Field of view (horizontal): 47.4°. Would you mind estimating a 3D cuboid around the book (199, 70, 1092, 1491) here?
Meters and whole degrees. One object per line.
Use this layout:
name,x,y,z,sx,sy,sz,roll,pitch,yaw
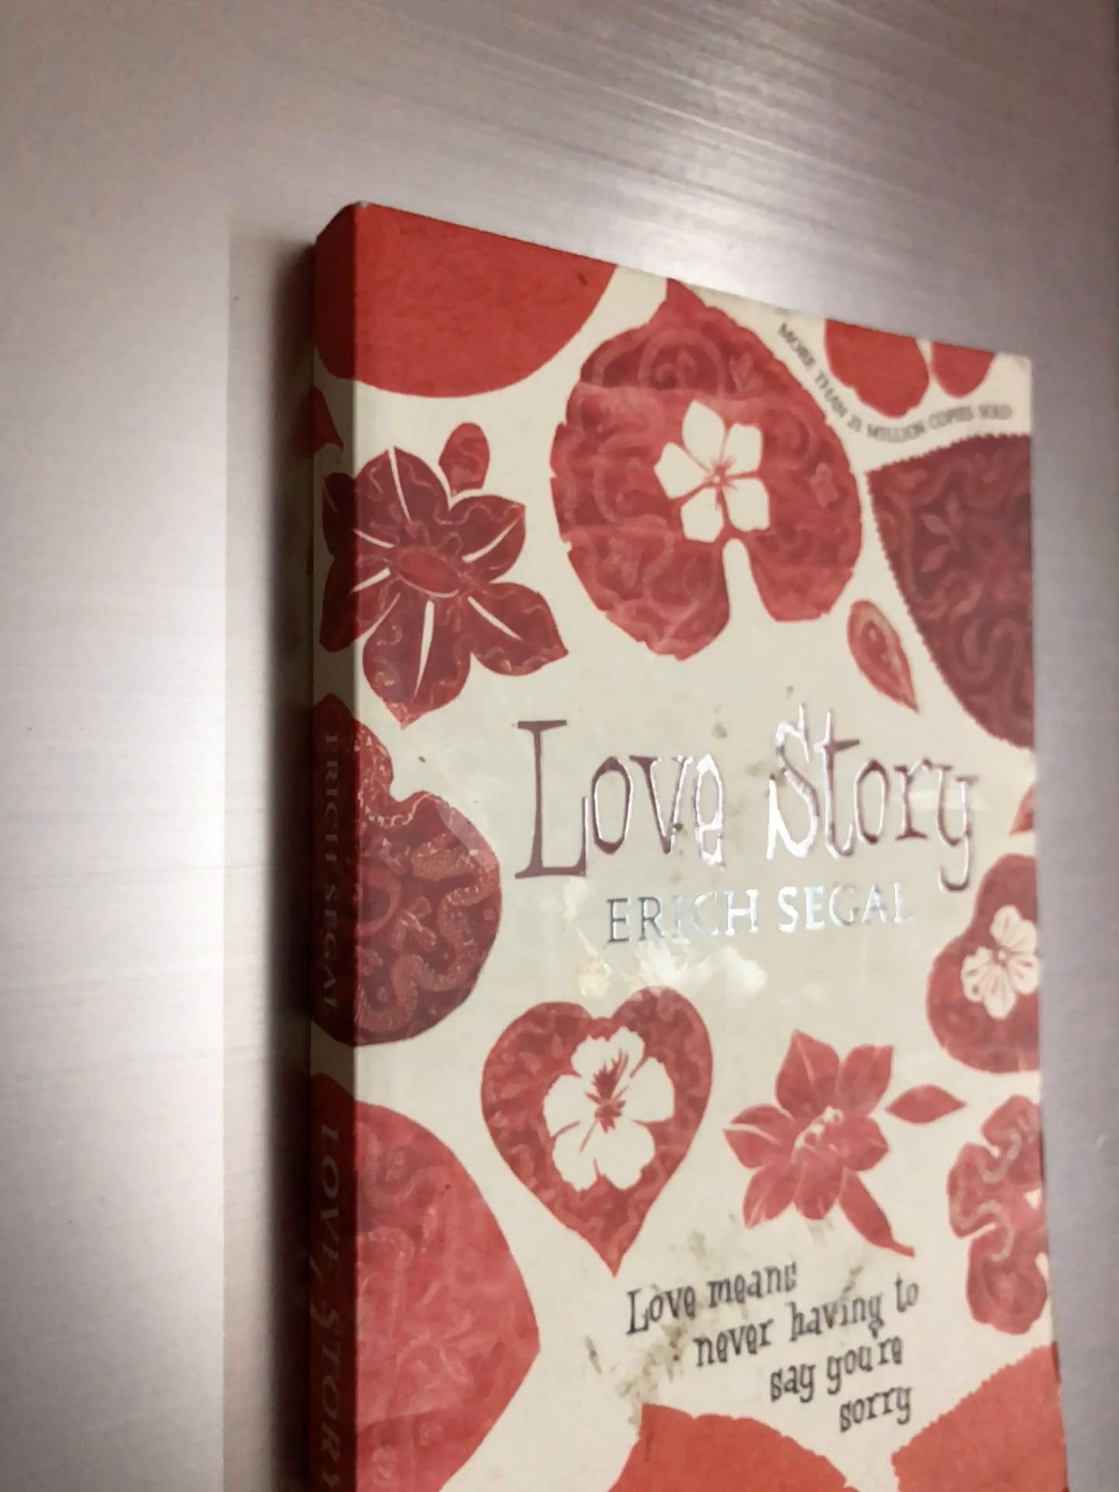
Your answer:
book,0.017,0.023,0.170,0.120,0.030,0.180,0,87,-33
